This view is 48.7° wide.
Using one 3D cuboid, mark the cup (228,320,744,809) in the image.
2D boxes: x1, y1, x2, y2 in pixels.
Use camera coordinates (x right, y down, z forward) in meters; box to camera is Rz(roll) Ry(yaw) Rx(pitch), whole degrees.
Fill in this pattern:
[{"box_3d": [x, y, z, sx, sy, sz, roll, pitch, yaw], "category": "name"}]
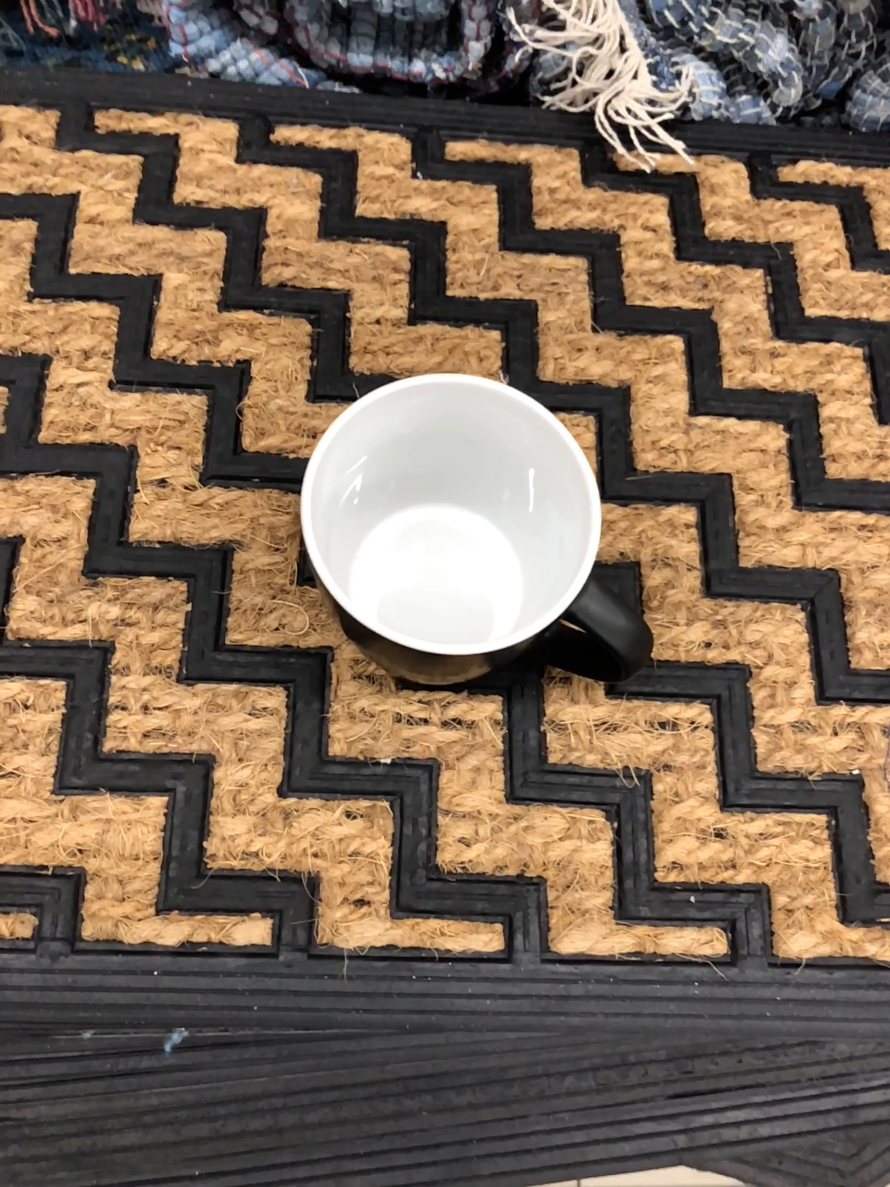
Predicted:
[{"box_3d": [0.011, -0.005, 0.326, 0.123, 0.081, 0.090, 33, 73, 7], "category": "cup"}]
